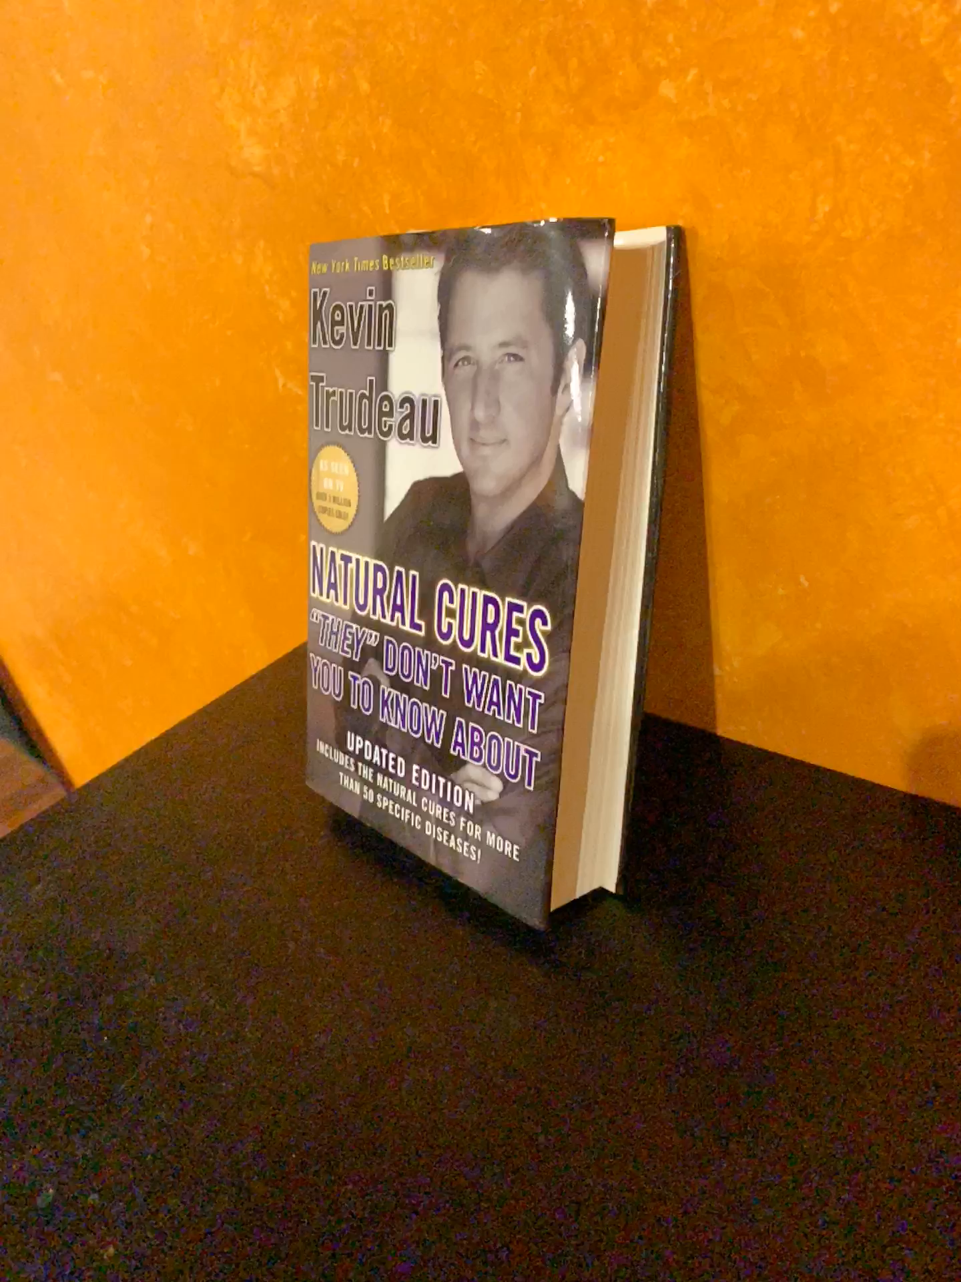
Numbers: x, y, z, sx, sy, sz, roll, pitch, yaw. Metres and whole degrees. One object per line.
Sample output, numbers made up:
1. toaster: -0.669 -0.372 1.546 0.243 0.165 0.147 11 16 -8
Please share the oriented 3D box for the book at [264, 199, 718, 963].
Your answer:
1. book: -0.014 -0.030 0.375 0.050 0.229 0.181 -8 18 -40
